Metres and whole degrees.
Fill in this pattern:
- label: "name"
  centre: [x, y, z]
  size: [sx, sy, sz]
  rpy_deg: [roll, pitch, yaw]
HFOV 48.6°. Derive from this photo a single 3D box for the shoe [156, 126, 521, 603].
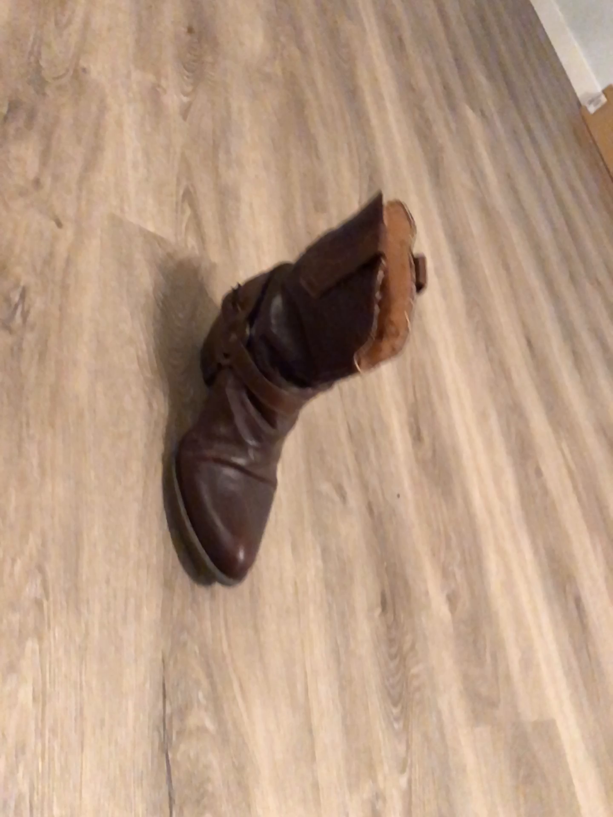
- label: "shoe"
  centre: [0.001, -0.020, 0.468]
  size: [0.101, 0.209, 0.240]
  rpy_deg: [23, 48, -38]
